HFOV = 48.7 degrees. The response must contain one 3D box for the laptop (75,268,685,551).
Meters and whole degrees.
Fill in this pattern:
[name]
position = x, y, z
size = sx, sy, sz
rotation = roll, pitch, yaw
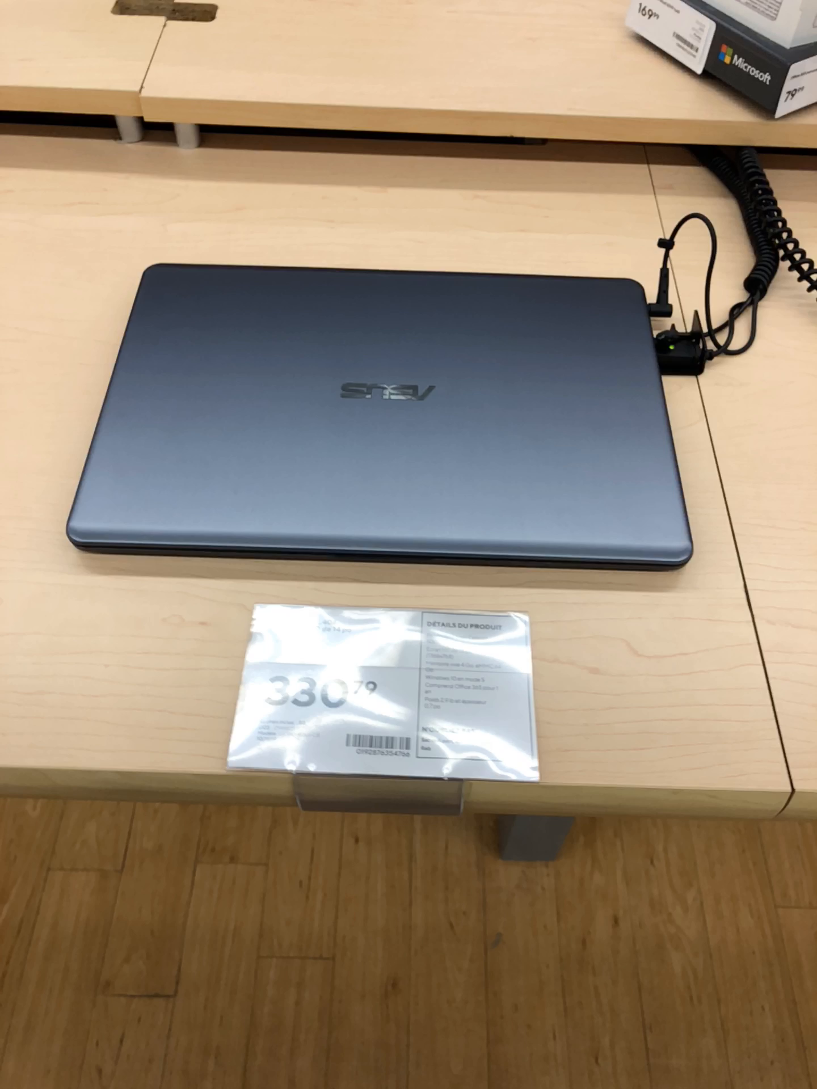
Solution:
[laptop]
position = -0.013, -0.089, 0.531
size = 0.318, 0.001, 0.211
rotation = 2, 55, 0
